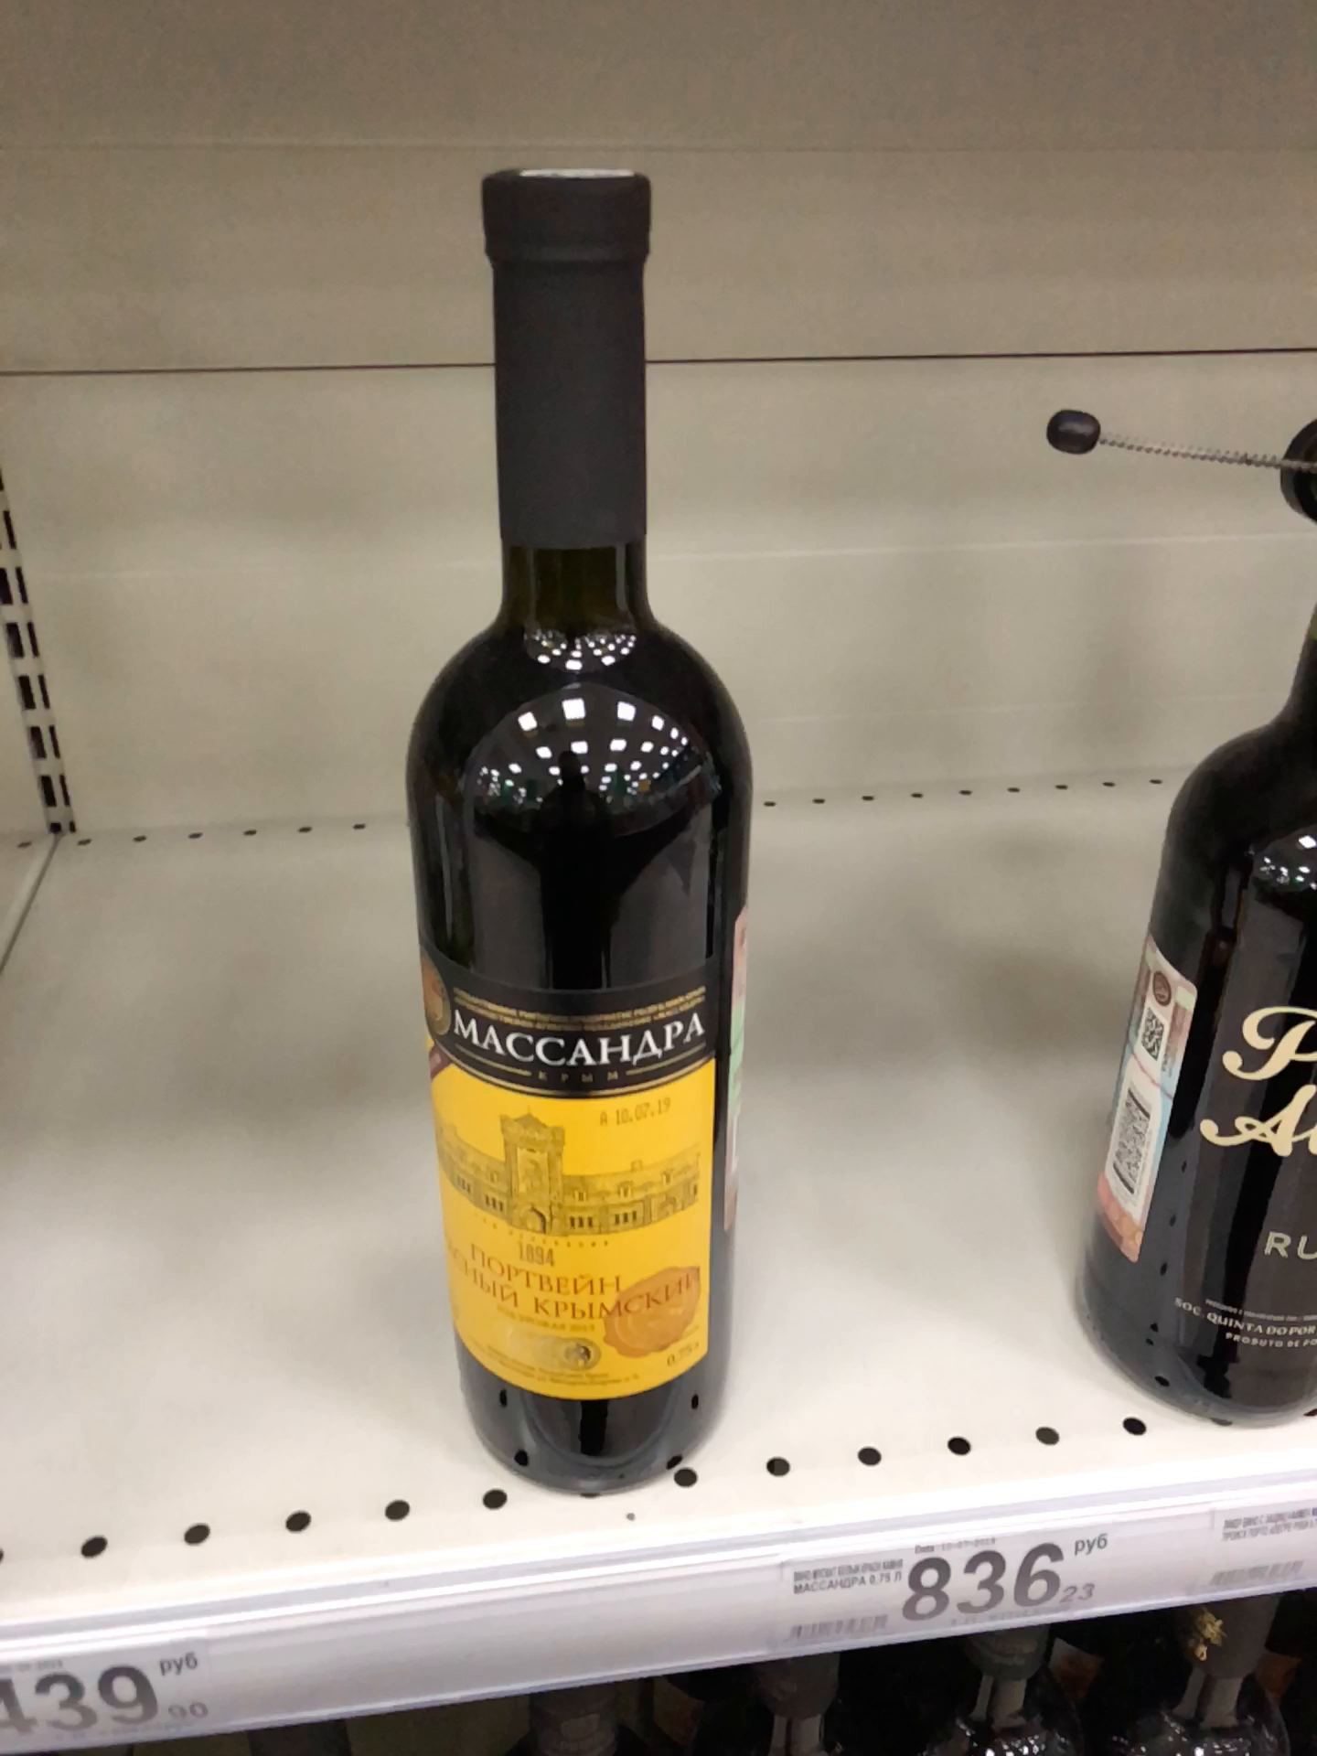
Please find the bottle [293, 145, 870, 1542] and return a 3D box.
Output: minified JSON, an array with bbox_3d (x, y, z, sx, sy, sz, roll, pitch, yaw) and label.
[{"bbox_3d":[-0.009,0.008,0.375,0.100,0.348,0.101,0,29,0],"label":"bottle"}]
